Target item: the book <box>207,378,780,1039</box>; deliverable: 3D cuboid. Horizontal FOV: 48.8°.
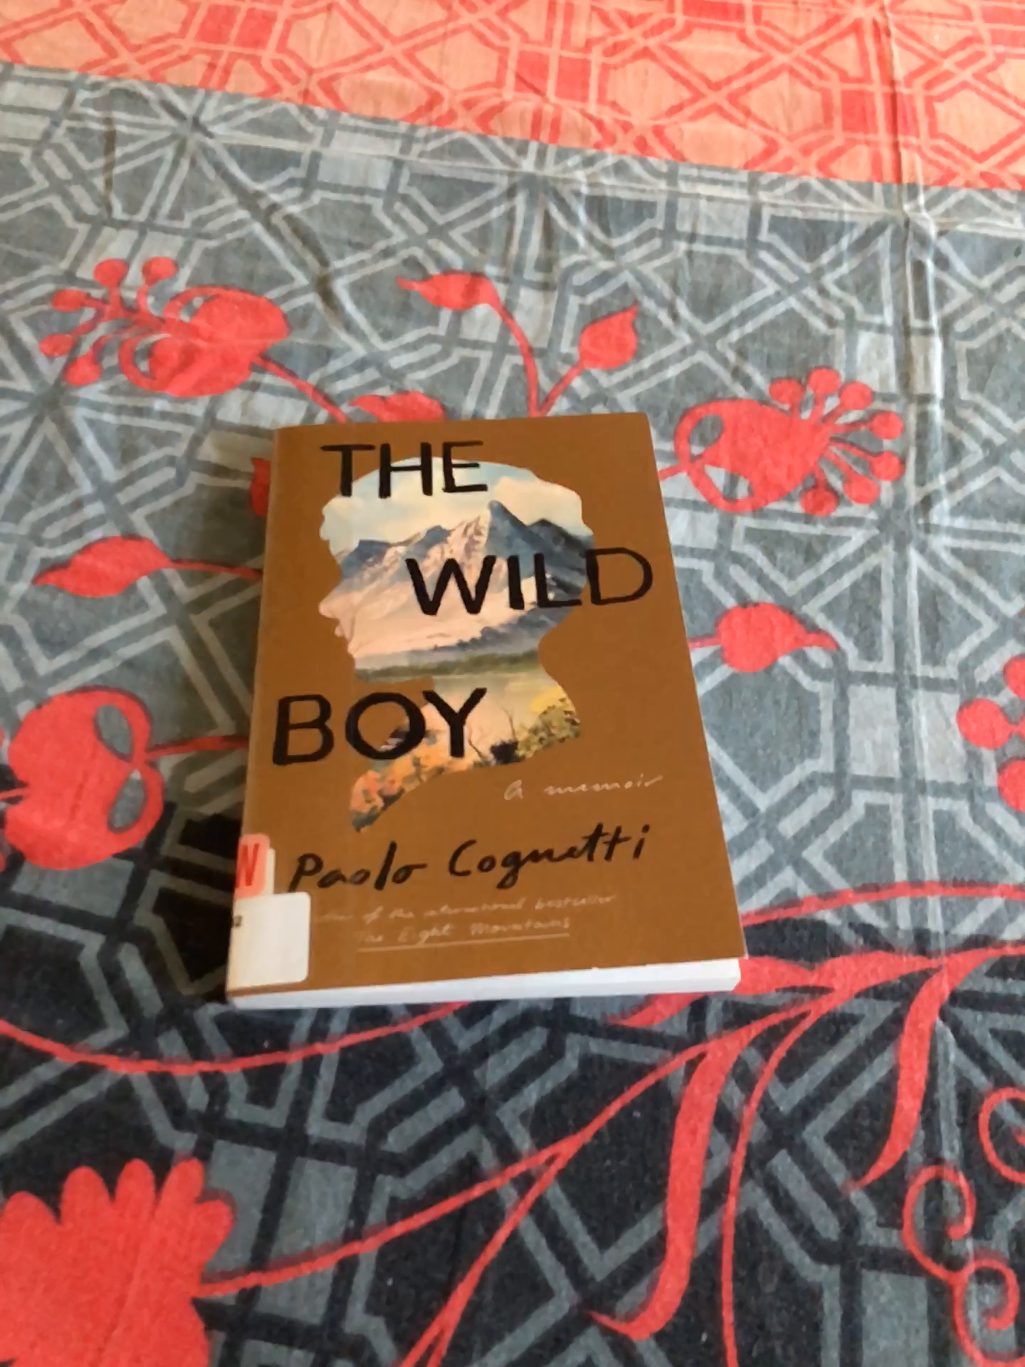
[{"bbox_3d":[-0.011,-0.007,0.373,0.150,0.030,0.230,-4,55,-1],"label":"book"}]
